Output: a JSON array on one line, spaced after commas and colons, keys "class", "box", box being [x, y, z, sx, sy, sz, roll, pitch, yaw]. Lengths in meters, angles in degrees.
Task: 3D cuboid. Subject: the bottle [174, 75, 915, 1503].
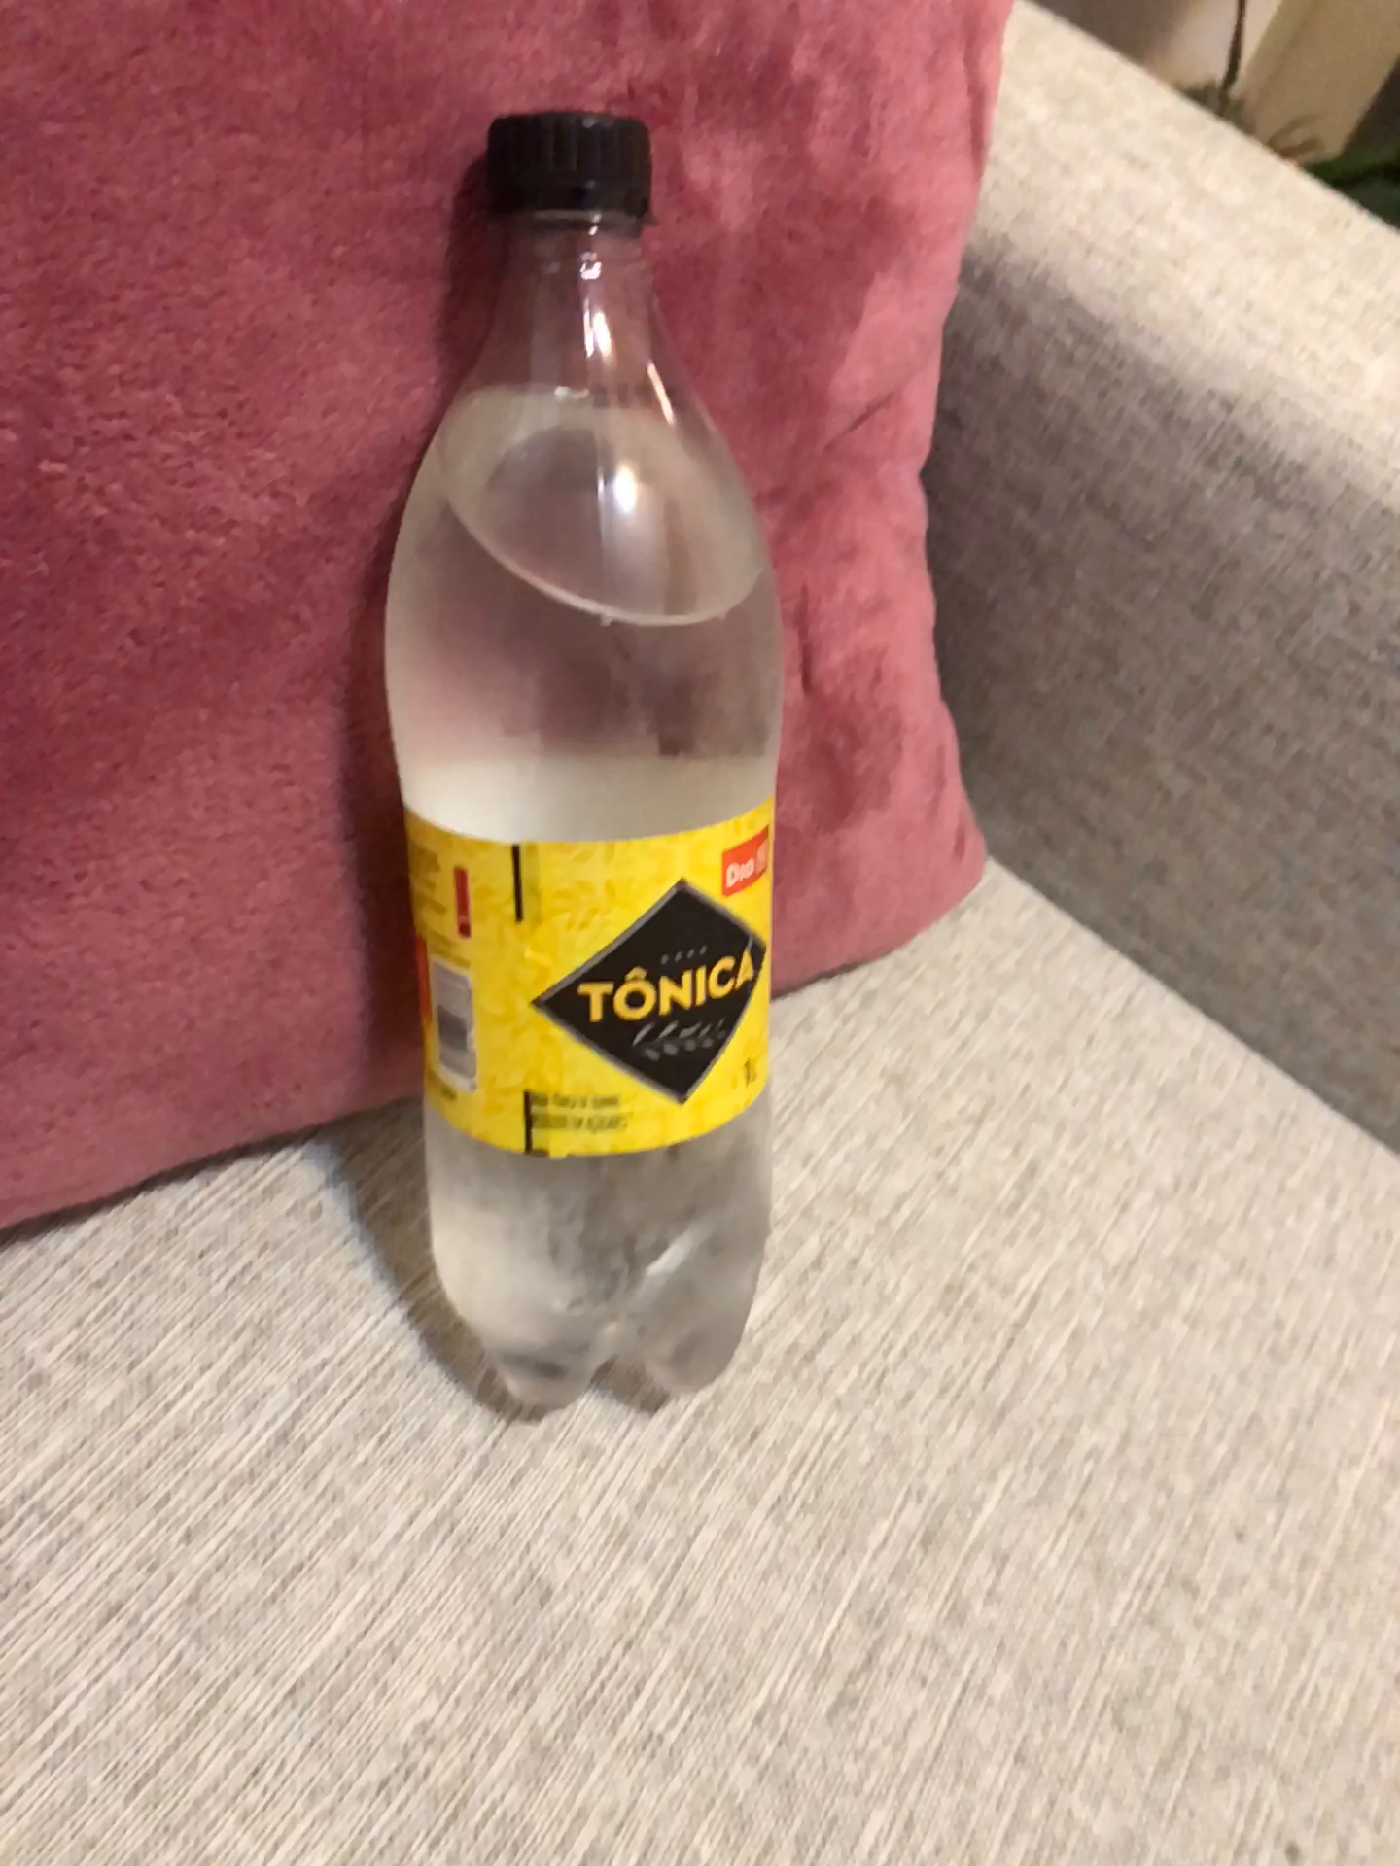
[{"class": "bottle", "box": [-0.033, -0.029, 0.341, 0.100, 0.269, 0.100, 1, 24, 0]}]
